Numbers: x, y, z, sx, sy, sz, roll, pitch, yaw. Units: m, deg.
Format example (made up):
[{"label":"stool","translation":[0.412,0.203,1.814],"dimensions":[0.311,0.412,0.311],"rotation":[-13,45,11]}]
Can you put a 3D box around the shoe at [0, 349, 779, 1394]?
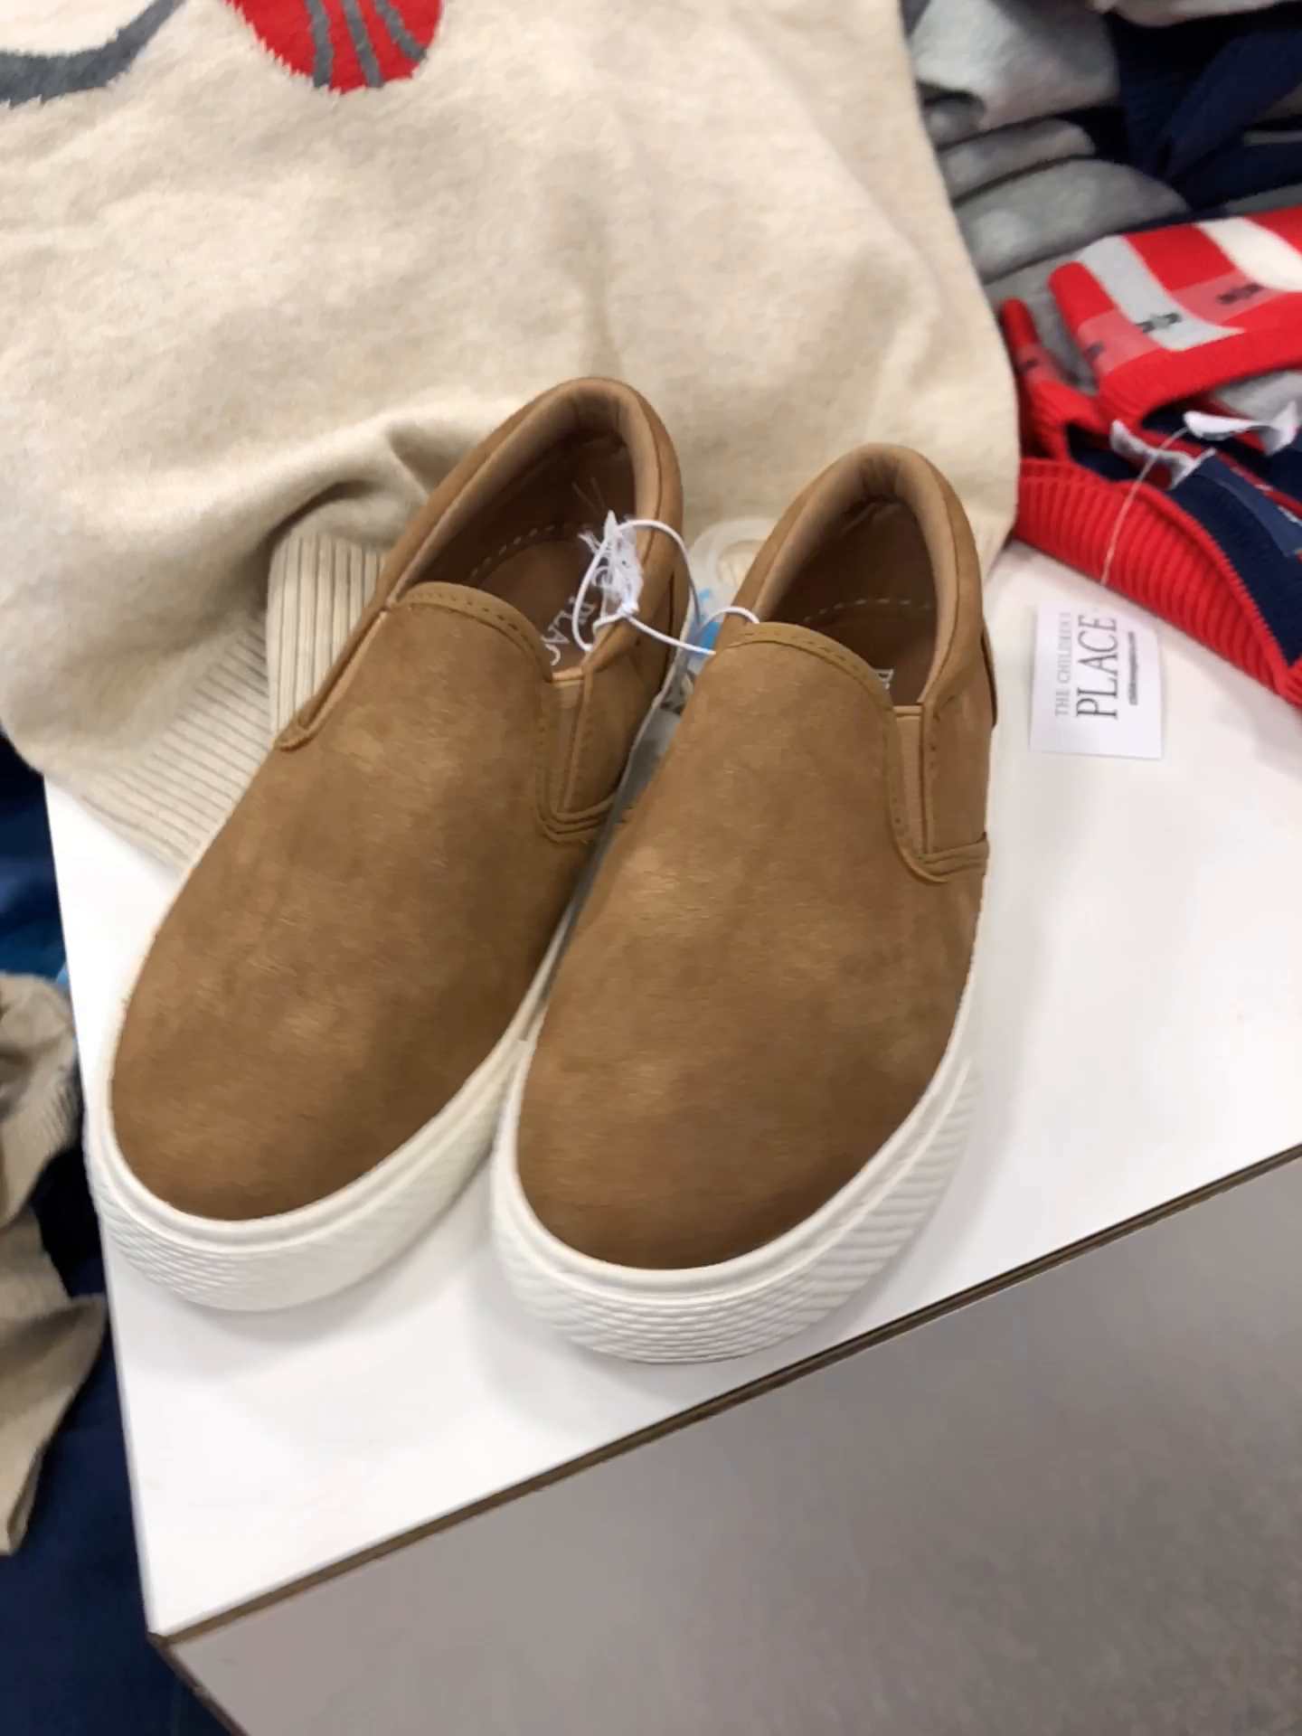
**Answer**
[{"label":"shoe","translation":[-0.053,-0.022,0.319],"dimensions":[0.092,0.080,0.231],"rotation":[12,46,19]}]

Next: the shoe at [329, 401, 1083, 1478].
[{"label":"shoe","translation":[0.031,-0.008,0.315],"dimensions":[0.092,0.080,0.231],"rotation":[9,45,15]}]
